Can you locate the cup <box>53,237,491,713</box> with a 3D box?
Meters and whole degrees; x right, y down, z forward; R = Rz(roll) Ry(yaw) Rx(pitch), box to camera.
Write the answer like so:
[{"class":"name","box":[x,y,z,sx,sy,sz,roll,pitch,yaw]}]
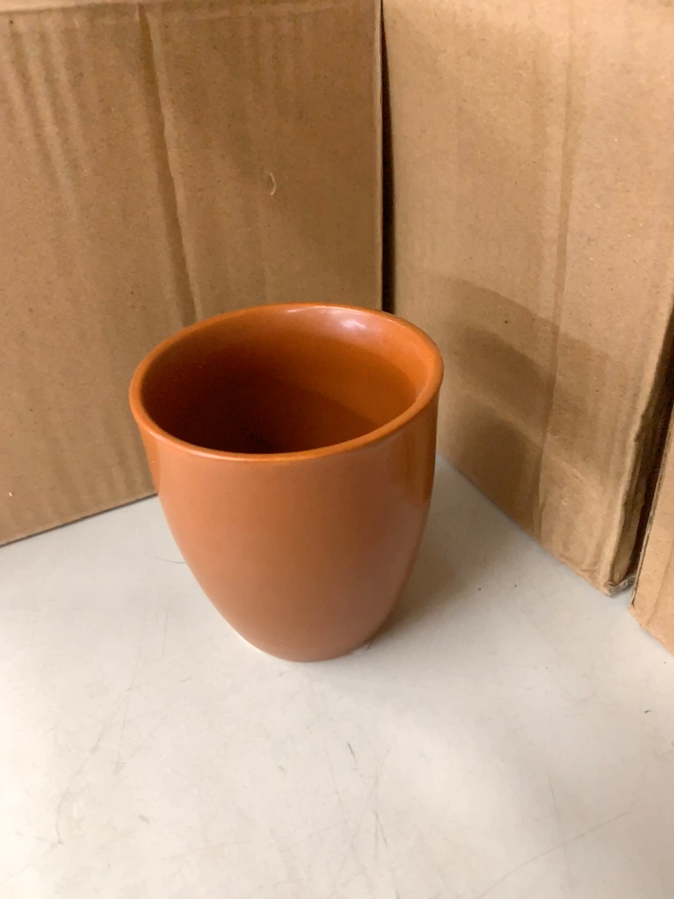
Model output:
[{"class":"cup","box":[-0.008,0.001,0.179,0.070,0.079,0.070,-4,37,3]}]
